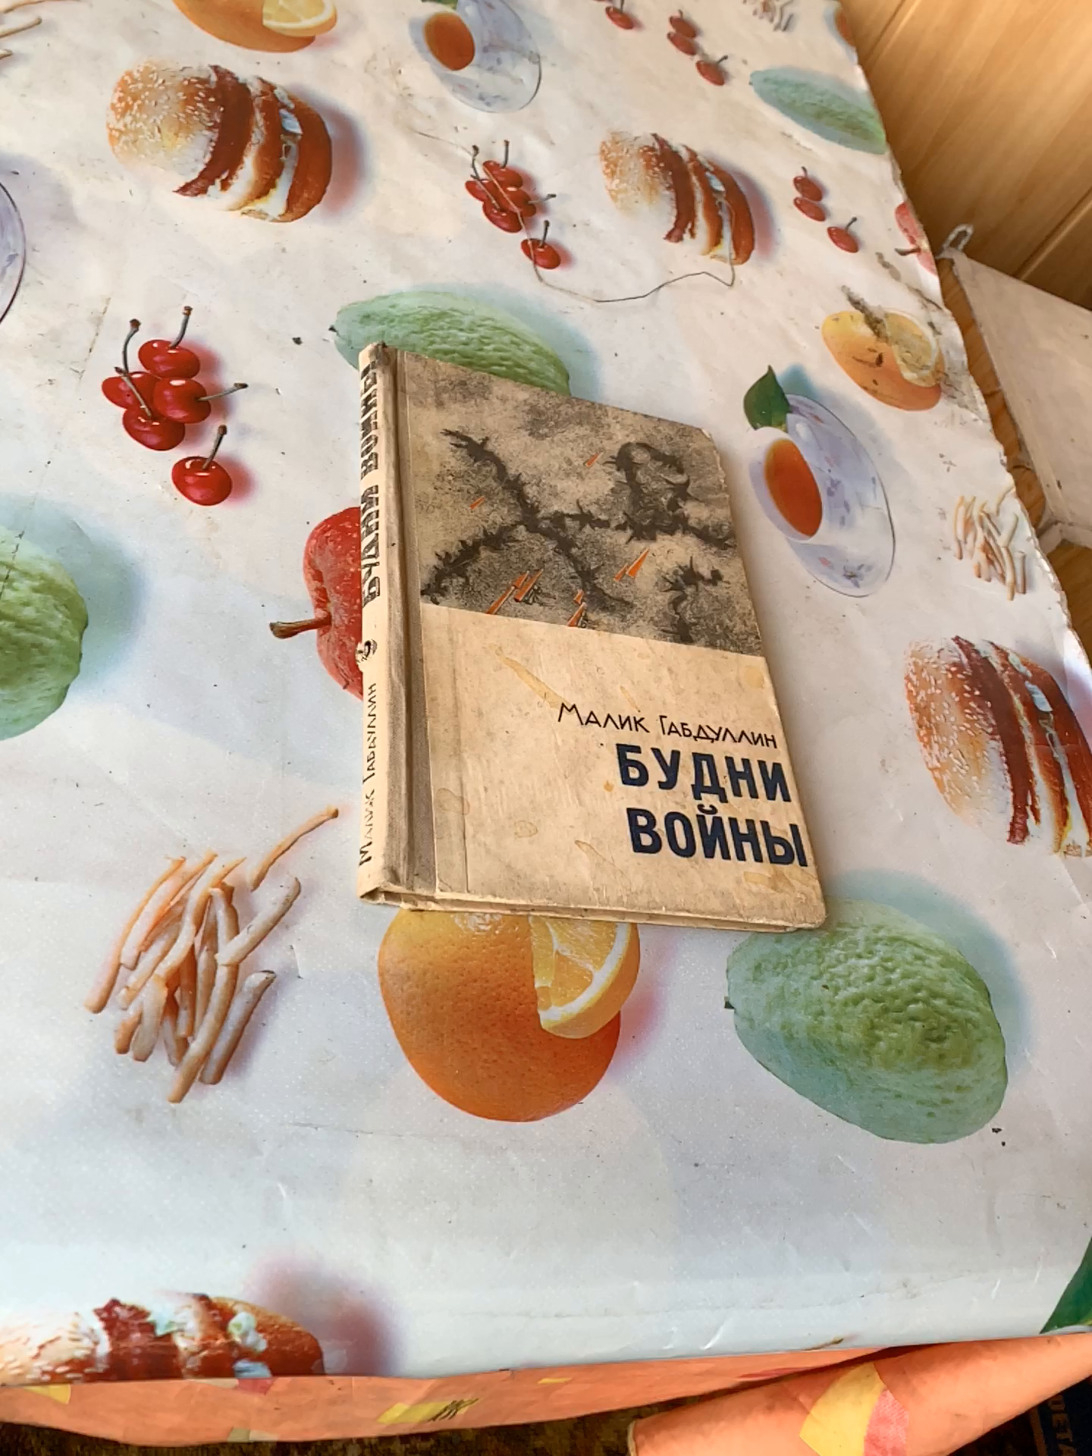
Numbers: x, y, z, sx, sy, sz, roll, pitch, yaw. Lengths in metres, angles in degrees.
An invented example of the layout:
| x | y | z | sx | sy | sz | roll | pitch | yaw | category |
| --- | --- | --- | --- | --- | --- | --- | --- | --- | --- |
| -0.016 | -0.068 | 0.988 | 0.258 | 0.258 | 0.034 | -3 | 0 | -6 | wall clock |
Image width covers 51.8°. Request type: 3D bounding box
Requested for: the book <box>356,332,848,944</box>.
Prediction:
| x | y | z | sx | sy | sz | roll | pitch | yaw | category |
| --- | --- | --- | --- | --- | --- | --- | --- | --- | --- |
| 0.010 | -0.033 | 0.350 | 0.136 | 0.018 | 0.197 | 9 | 55 | -22 | book |
